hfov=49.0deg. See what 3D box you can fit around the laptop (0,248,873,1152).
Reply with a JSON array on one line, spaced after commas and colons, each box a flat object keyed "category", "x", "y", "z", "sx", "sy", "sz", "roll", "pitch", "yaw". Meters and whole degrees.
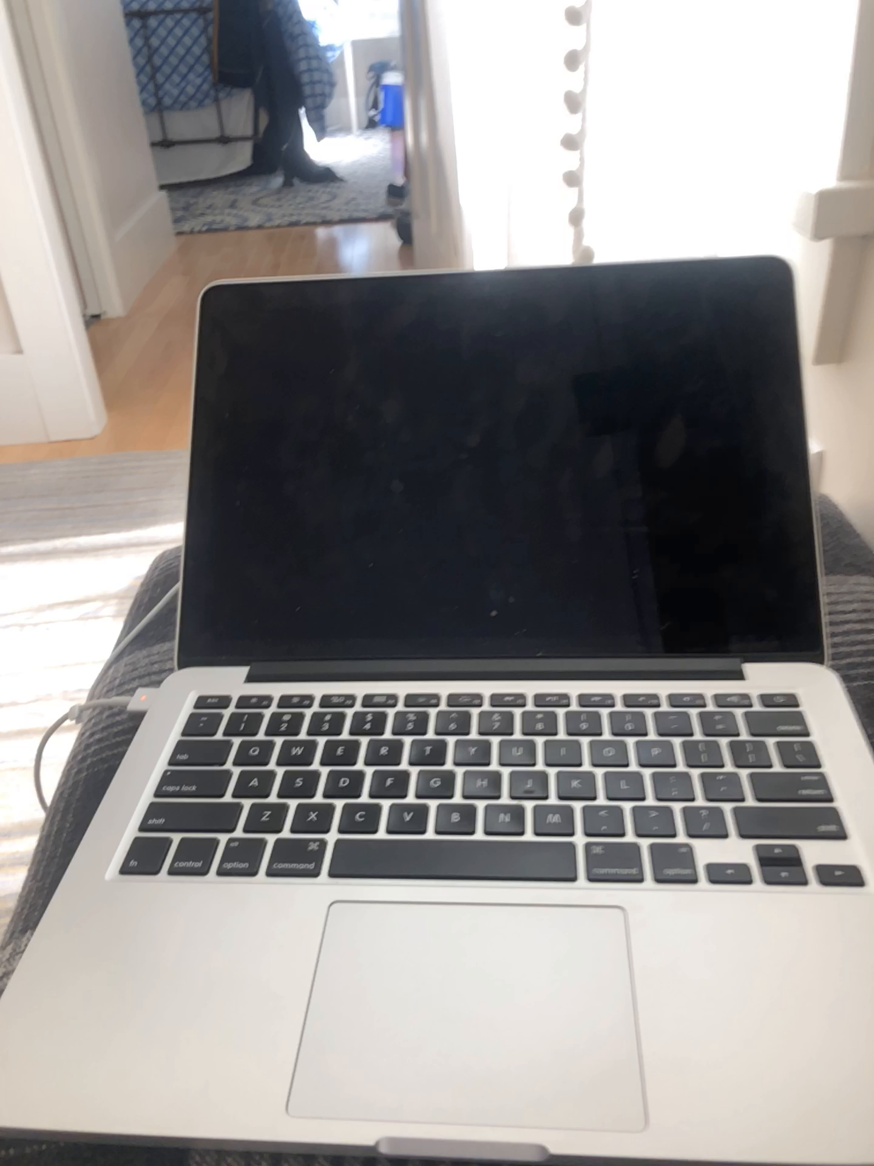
[{"category": "laptop", "x": 0.018, "y": -0.006, "z": 0.387, "sx": 0.306, "sy": 0.142, "sz": 0.368, "roll": -1, "pitch": 32, "yaw": 6}]
